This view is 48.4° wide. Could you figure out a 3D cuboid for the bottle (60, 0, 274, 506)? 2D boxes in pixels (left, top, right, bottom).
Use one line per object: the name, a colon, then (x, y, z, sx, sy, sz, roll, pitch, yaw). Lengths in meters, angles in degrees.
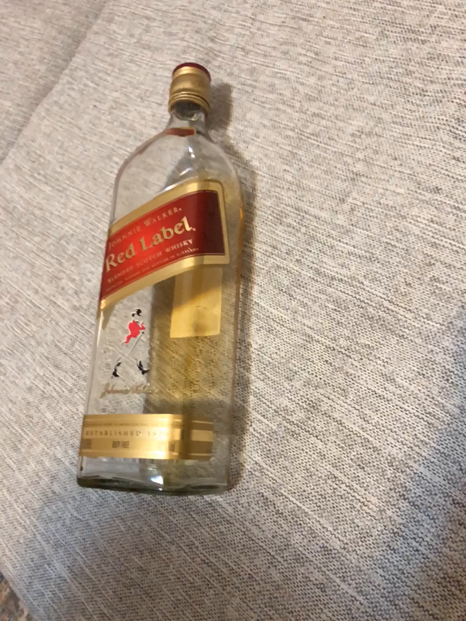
bottle: (-0.032, -0.046, 0.333, 0.090, 0.070, 0.310, -4, 74, 24)
